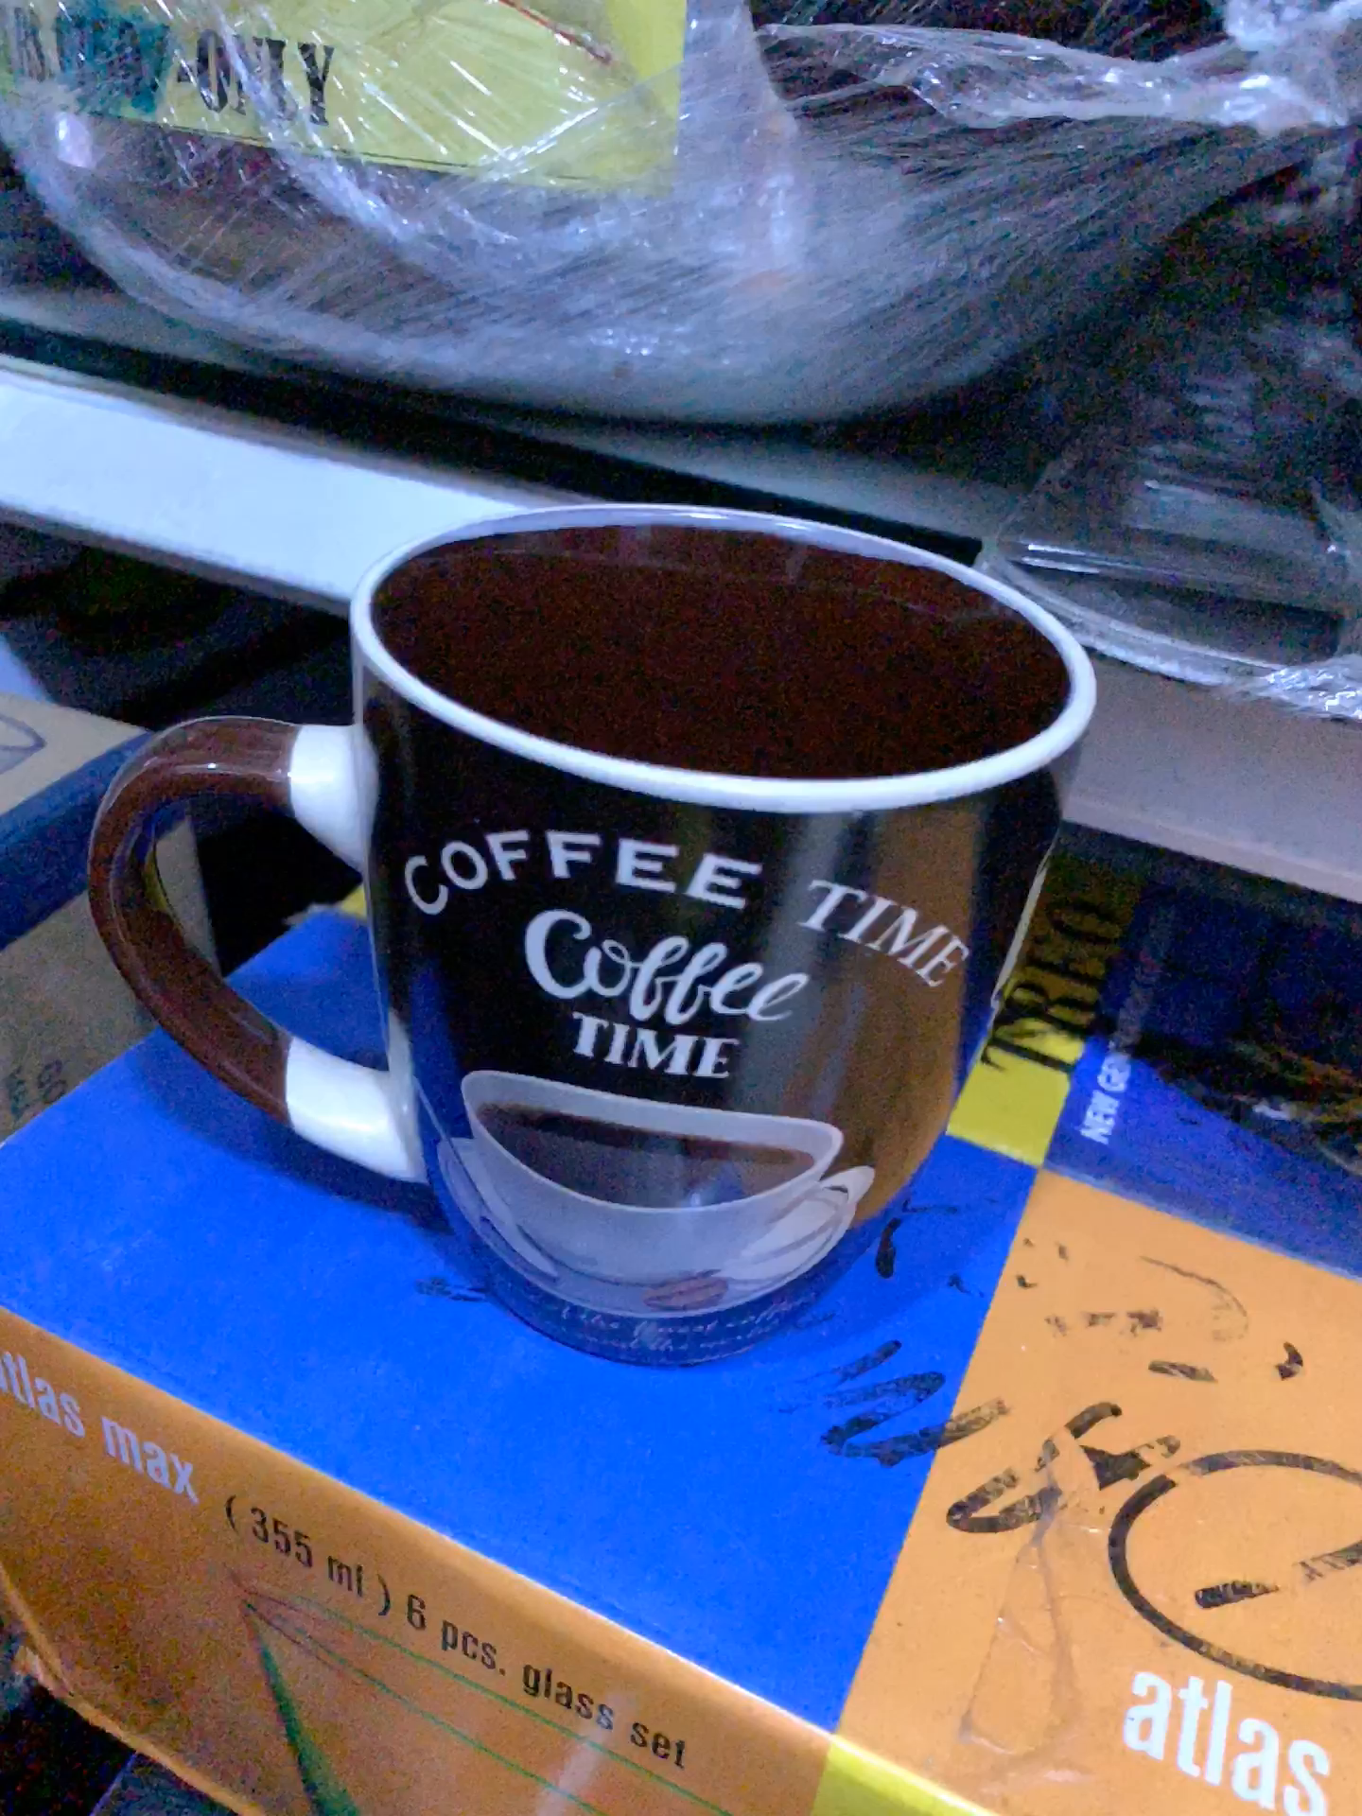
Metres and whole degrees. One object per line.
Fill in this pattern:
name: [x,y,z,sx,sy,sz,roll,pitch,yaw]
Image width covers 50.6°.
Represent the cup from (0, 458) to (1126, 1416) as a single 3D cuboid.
cup: [-0.014,-0.001,0.181,0.110,0.079,0.071,8,32,4]
